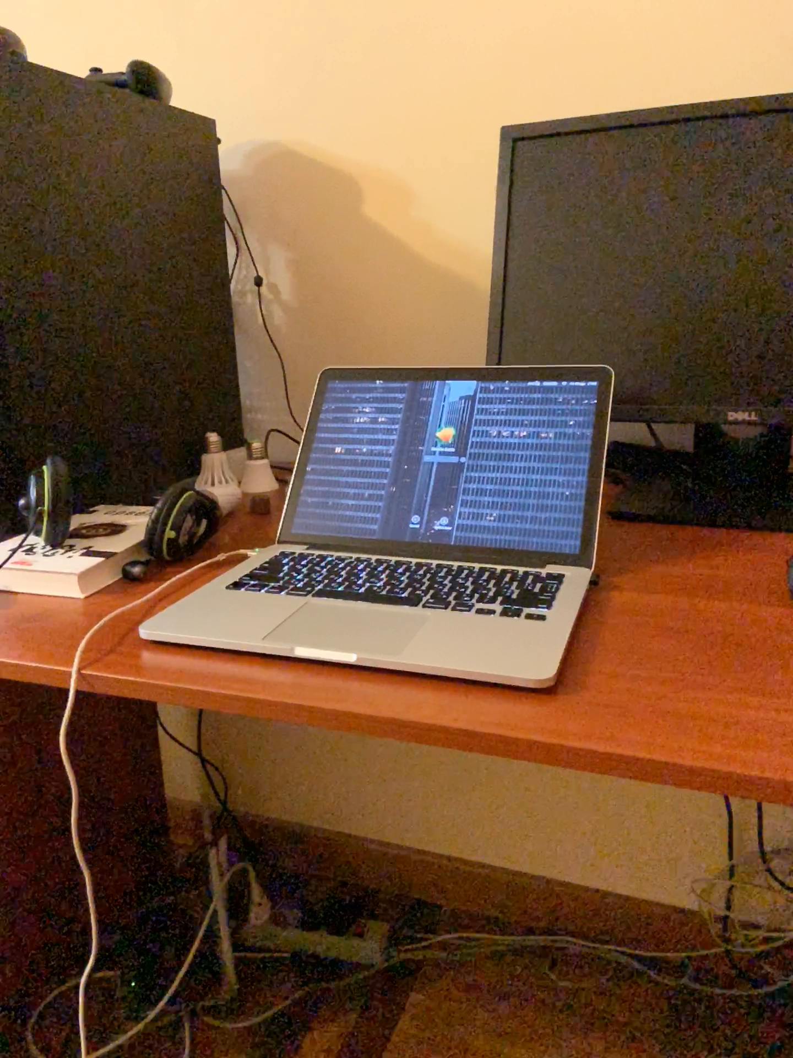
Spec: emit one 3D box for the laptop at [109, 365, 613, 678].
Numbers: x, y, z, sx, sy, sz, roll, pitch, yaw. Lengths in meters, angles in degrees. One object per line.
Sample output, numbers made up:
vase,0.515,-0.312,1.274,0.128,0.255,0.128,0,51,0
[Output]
laptop,0.007,-0.040,0.678,0.300,0.155,0.342,4,18,19
